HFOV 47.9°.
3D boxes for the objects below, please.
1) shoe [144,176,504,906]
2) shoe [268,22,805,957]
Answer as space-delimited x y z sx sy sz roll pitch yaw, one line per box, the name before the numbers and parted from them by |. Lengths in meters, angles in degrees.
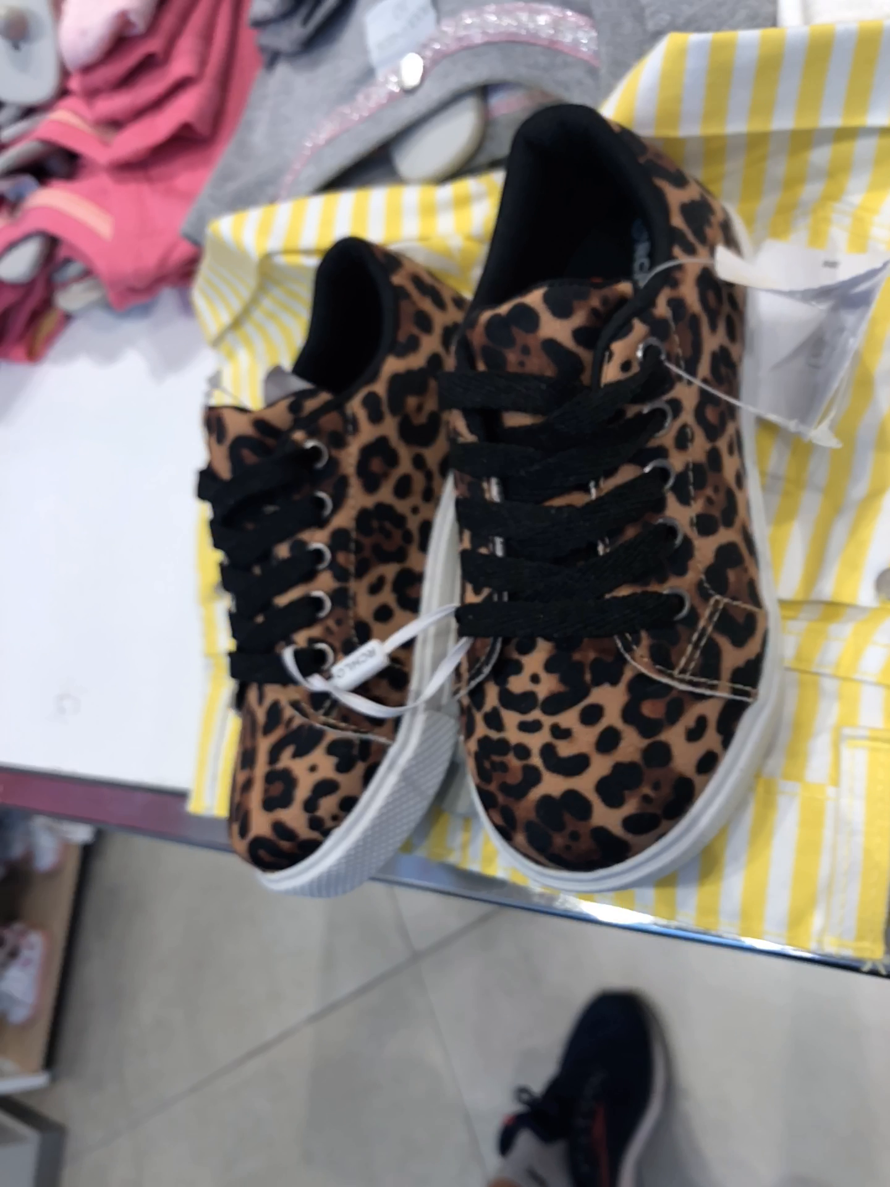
shoe | -0.036 -0.009 0.278 0.080 0.060 0.170 -9 75 64
shoe | 0.026 -0.018 0.234 0.080 0.080 0.170 2 83 37
